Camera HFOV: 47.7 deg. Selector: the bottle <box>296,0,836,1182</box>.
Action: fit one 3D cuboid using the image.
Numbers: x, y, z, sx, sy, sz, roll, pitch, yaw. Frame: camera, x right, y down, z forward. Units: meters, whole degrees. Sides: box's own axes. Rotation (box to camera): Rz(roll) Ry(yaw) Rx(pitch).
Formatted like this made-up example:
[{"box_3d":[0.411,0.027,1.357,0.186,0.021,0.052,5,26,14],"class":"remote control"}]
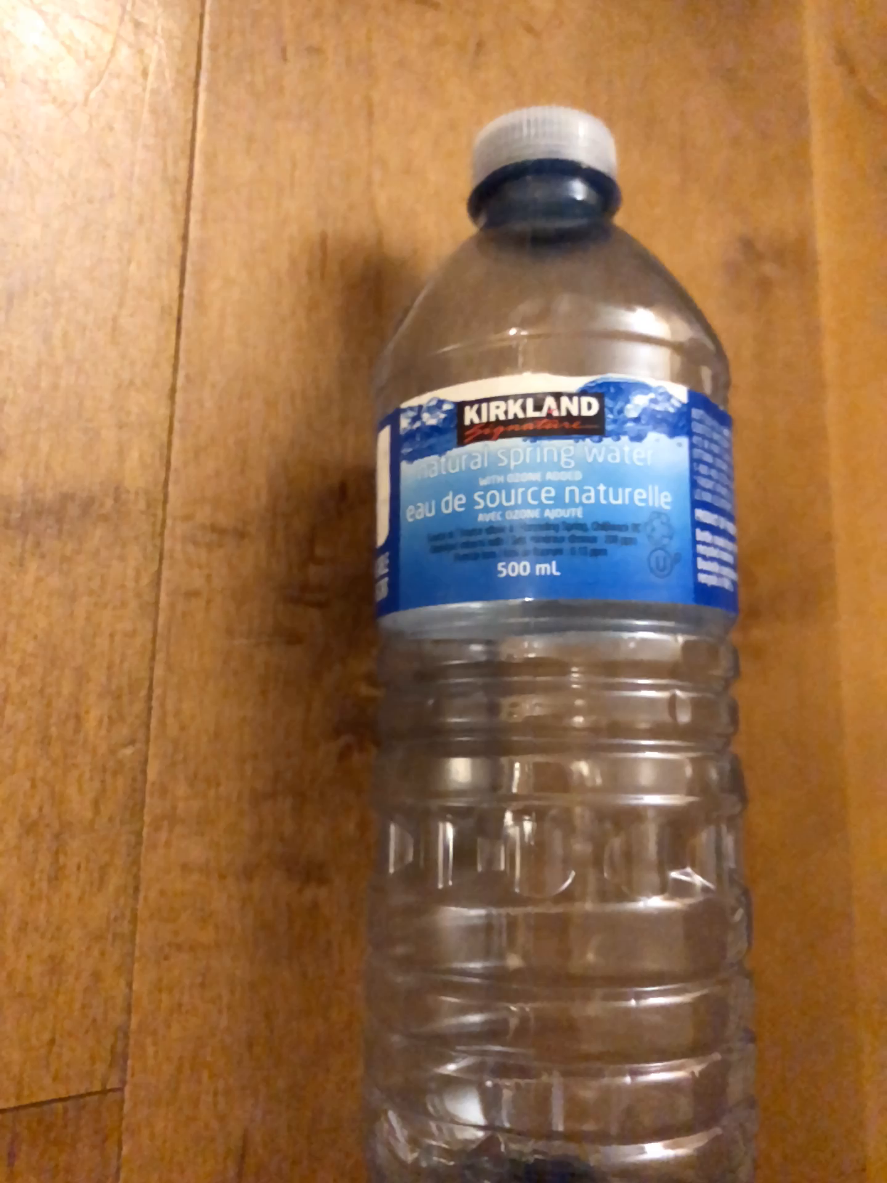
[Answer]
[{"box_3d":[0.016,0.002,0.184,0.070,0.070,0.200,66,22,-78],"class":"bottle"}]
